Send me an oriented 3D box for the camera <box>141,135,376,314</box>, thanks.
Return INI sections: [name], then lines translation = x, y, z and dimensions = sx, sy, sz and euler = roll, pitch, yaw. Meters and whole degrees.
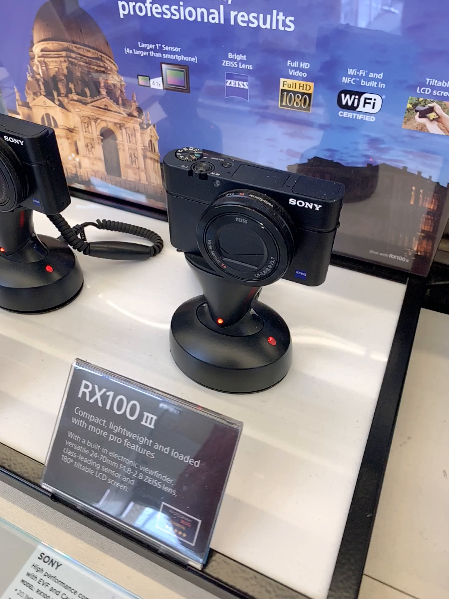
[camera]
translation = 0.018, -0.044, 0.258
dimensions = 0.110, 0.059, 0.050
euler = 15, 46, 16
